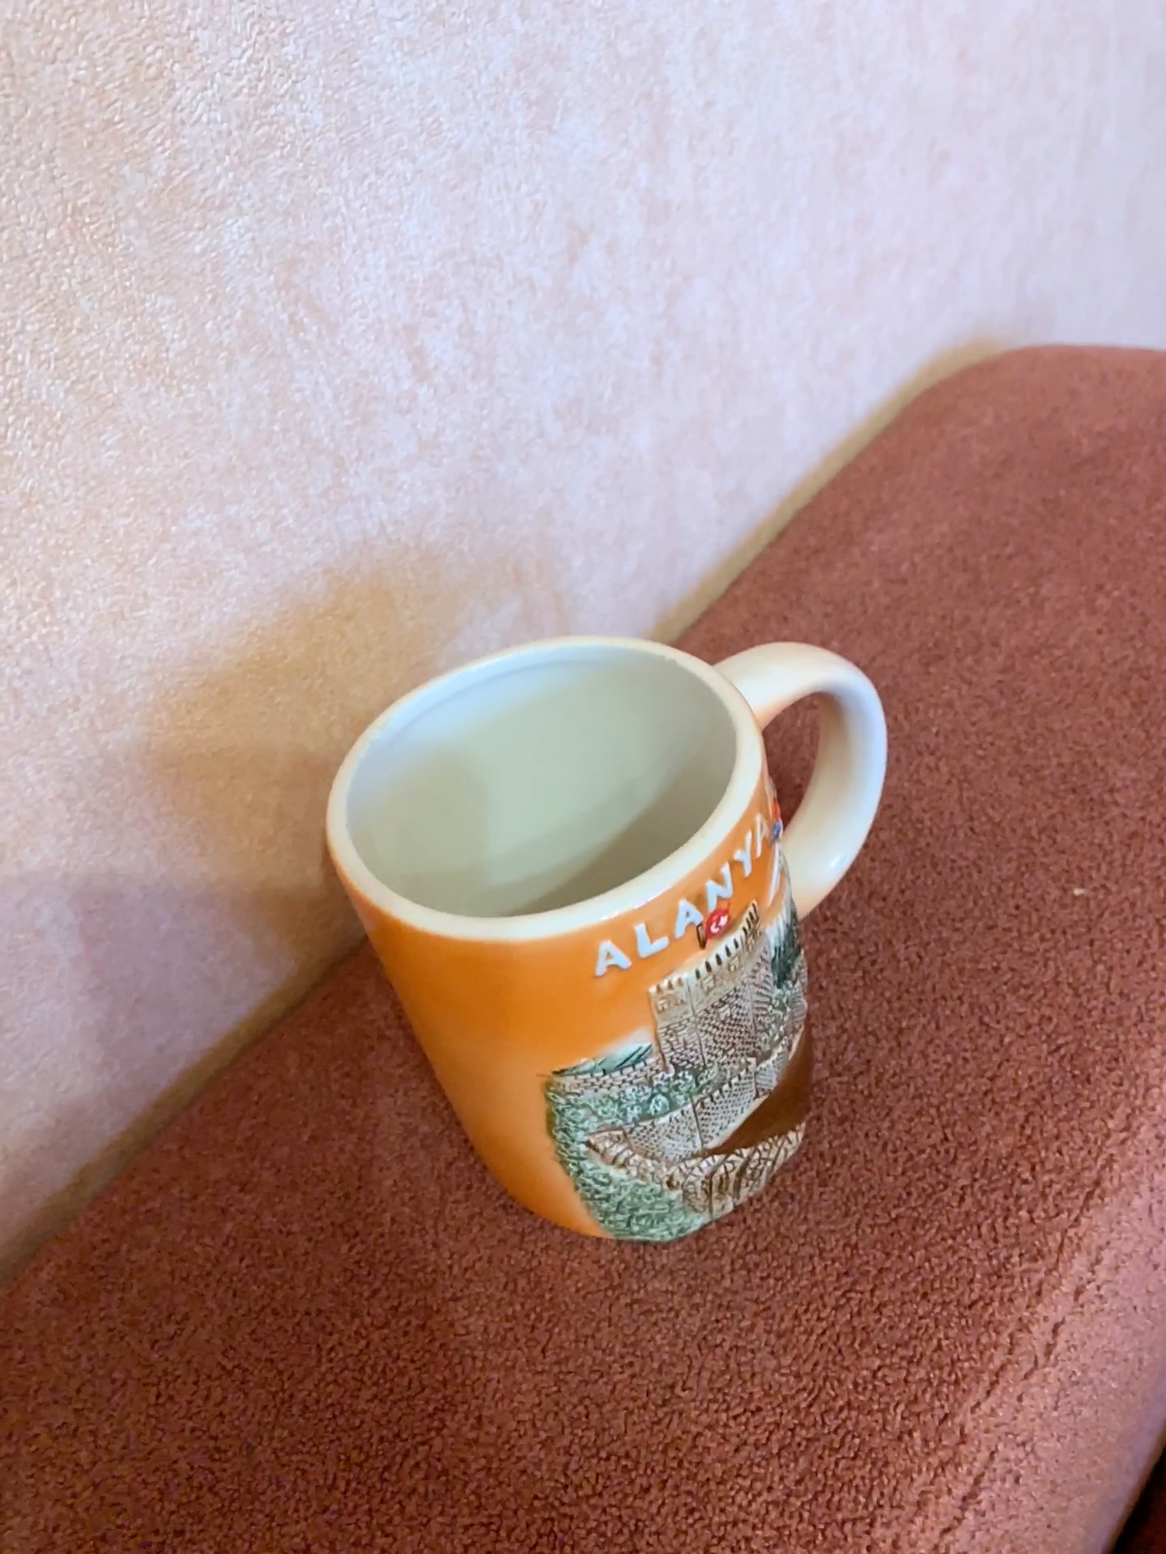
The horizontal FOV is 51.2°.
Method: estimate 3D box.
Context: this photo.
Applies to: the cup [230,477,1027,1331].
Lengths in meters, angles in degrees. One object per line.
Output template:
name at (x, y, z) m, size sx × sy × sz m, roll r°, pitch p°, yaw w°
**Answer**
cup at (0.017, 0.021, 0.254) m, size 0.120 × 0.098 × 0.088 m, roll -40°, pitch 49°, yaw -24°
